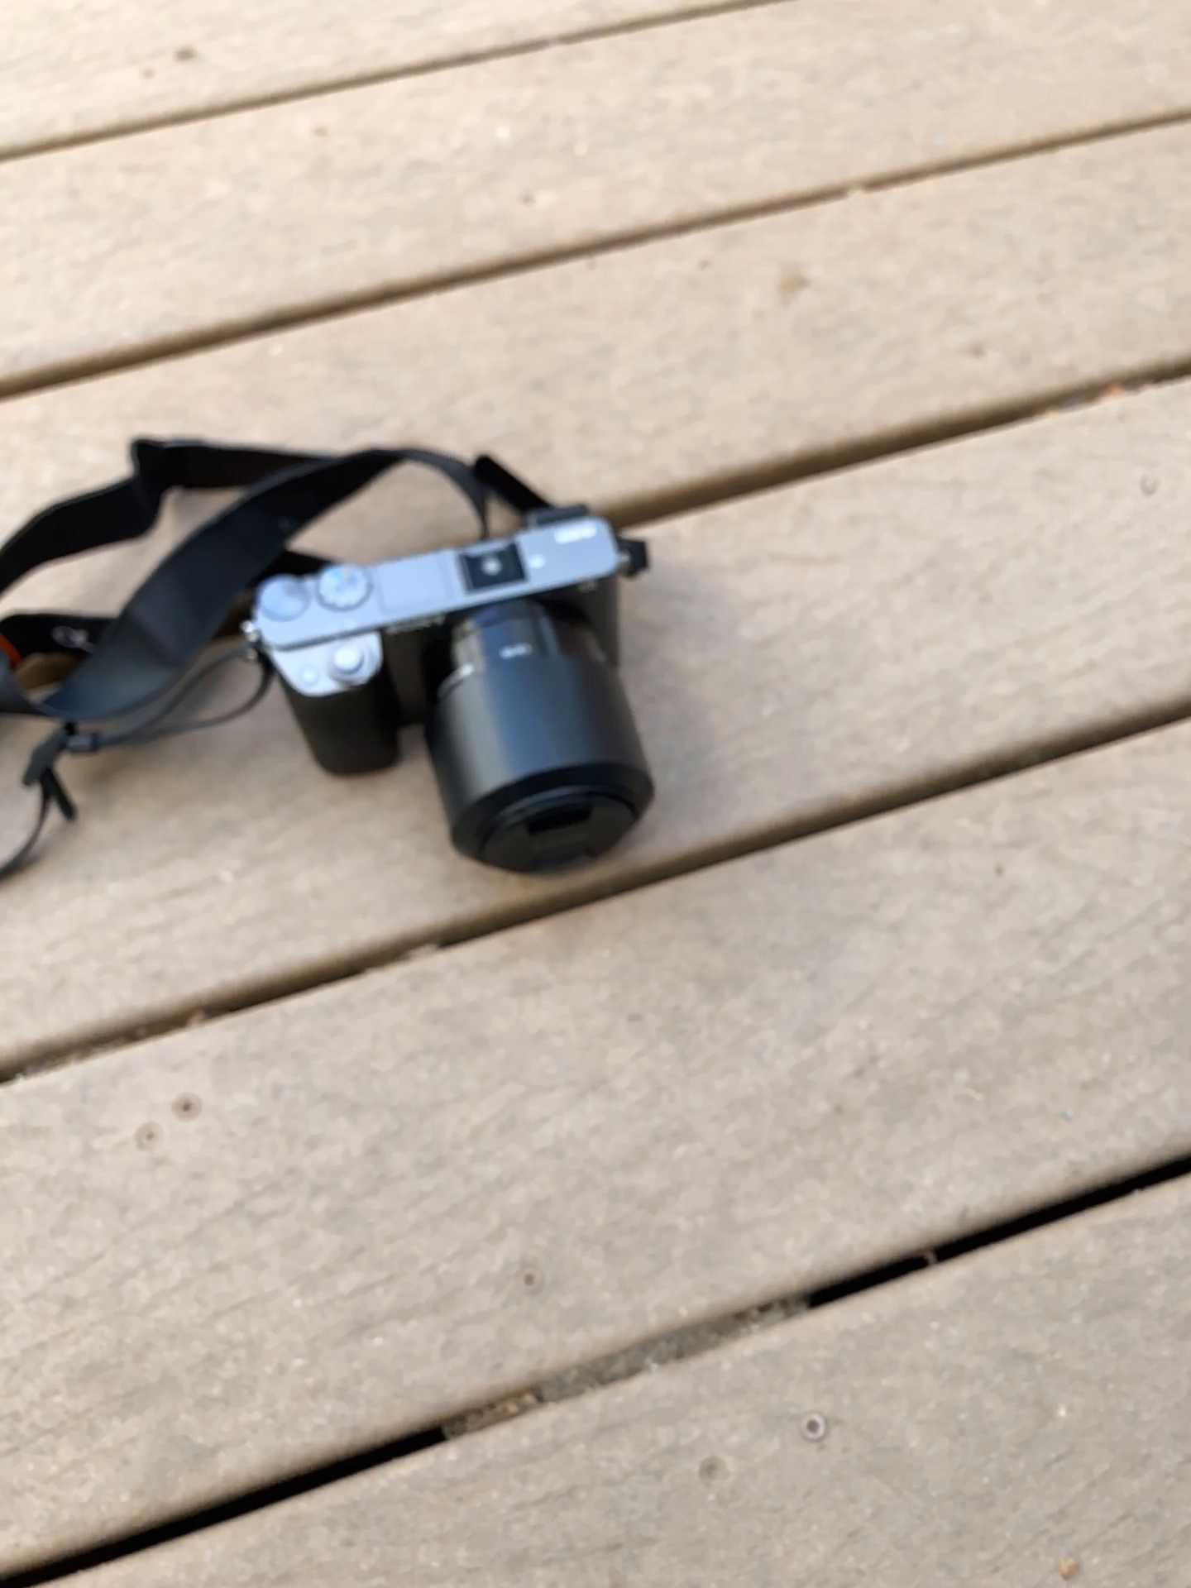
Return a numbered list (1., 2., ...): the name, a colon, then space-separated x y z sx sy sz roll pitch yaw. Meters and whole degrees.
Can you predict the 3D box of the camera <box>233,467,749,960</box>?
1. camera: -0.034 -0.026 0.424 0.130 0.070 0.110 -14 63 -7
